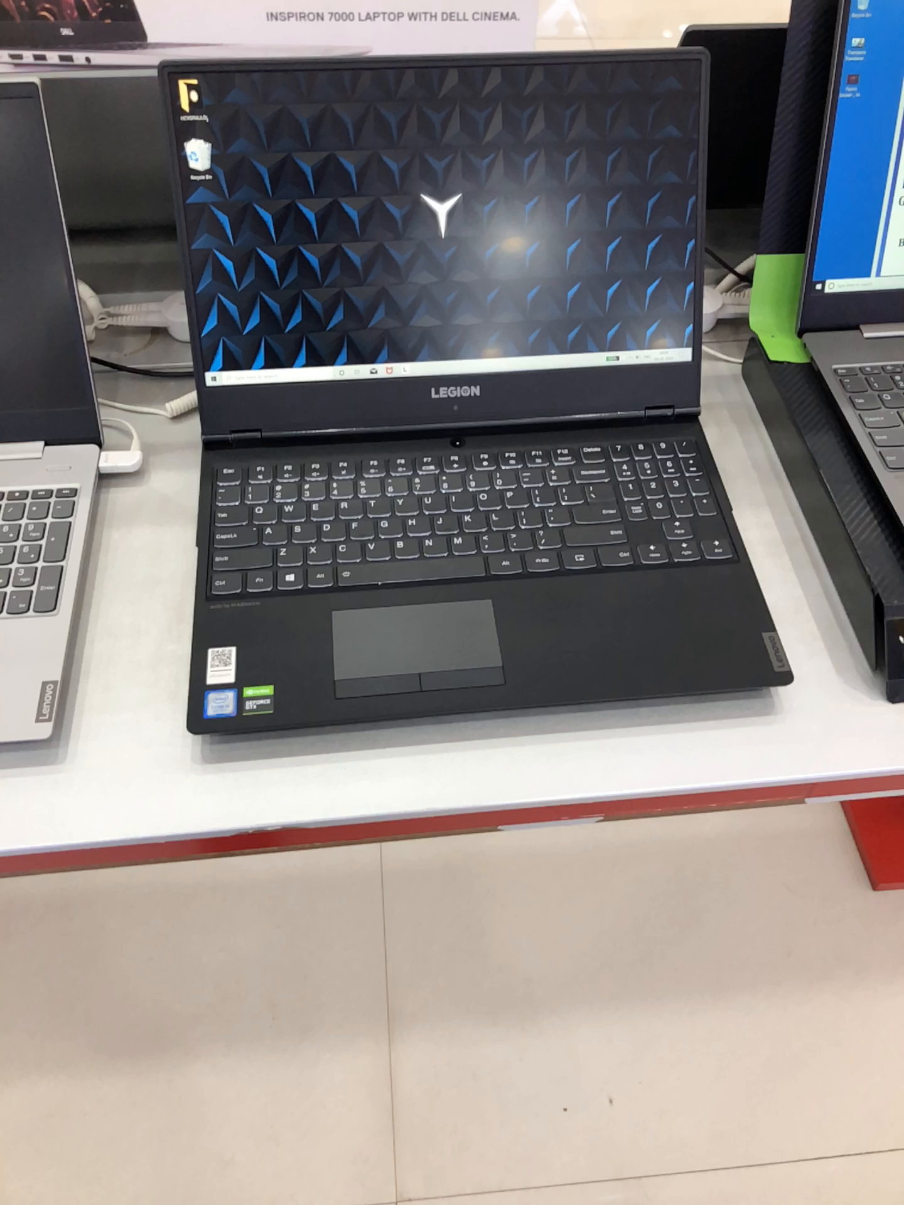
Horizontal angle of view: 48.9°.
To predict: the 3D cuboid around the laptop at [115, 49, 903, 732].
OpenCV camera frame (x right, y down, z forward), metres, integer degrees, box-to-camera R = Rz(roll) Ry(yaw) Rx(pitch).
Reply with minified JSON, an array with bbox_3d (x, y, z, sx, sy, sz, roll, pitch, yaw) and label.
[{"bbox_3d":[0.012,-0.140,0.583,0.334,0.191,0.349,-4,53,-6],"label":"laptop"}]
